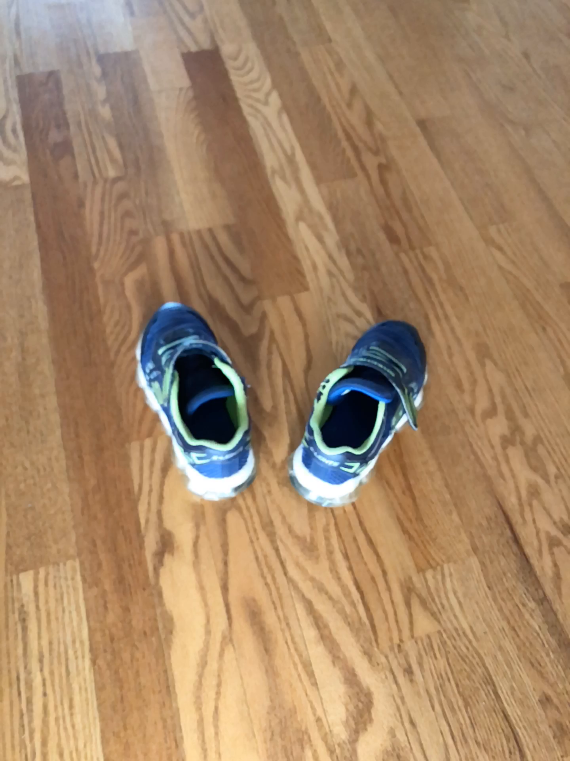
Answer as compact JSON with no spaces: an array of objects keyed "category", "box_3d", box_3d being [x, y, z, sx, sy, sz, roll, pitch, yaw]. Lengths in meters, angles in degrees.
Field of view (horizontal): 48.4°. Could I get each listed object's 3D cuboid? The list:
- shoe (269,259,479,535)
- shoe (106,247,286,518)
[{"category":"shoe","box_3d":[0.079,0.010,0.562,0.093,0.087,0.213,27,62,11]},{"category":"shoe","box_3d":[-0.081,-0.001,0.561,0.093,0.095,0.203,-16,63,-13]}]
